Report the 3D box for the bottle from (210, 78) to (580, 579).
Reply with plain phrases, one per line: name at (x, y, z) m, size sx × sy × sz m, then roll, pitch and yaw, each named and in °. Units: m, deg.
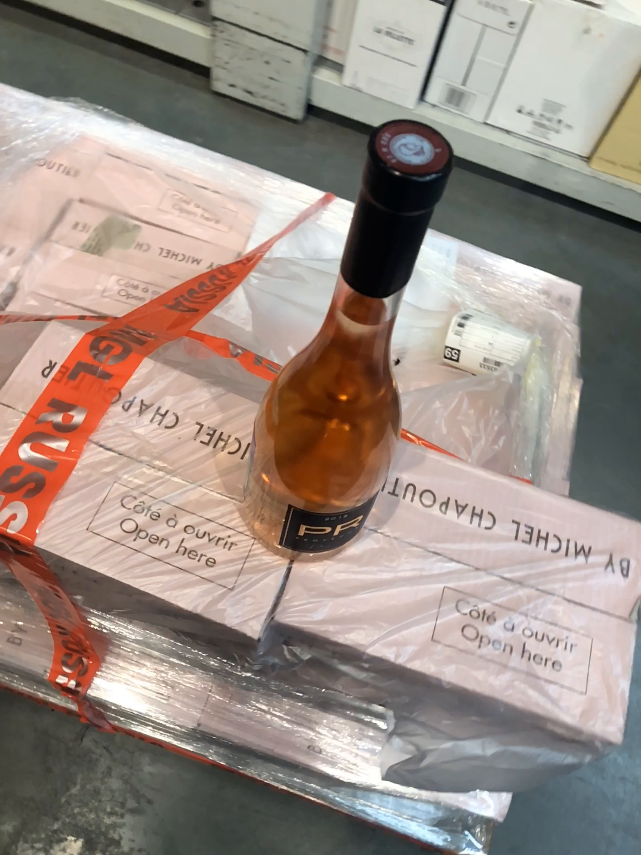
bottle at (0.005, -0.020, 0.366) m, size 0.100 × 0.279 × 0.096 m, roll 4°, pitch 62°, yaw -7°
